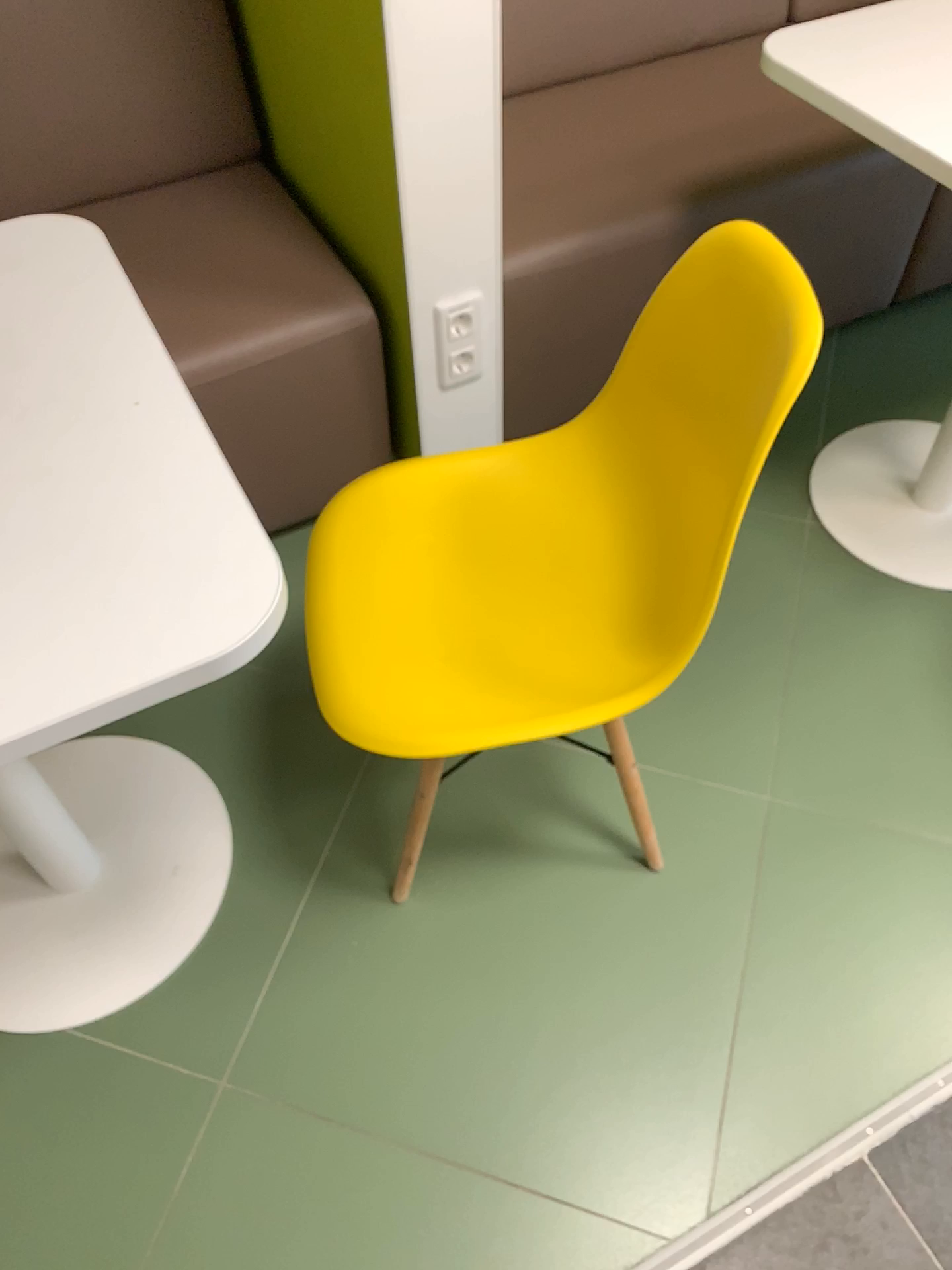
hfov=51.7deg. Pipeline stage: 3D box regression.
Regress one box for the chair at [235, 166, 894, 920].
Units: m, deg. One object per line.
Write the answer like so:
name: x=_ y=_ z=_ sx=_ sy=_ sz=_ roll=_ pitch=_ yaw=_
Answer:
chair: x=0.050 y=-0.049 z=1.206 sx=0.520 sy=0.816 sz=0.412 roll=-7 pitch=51 yaw=-5
